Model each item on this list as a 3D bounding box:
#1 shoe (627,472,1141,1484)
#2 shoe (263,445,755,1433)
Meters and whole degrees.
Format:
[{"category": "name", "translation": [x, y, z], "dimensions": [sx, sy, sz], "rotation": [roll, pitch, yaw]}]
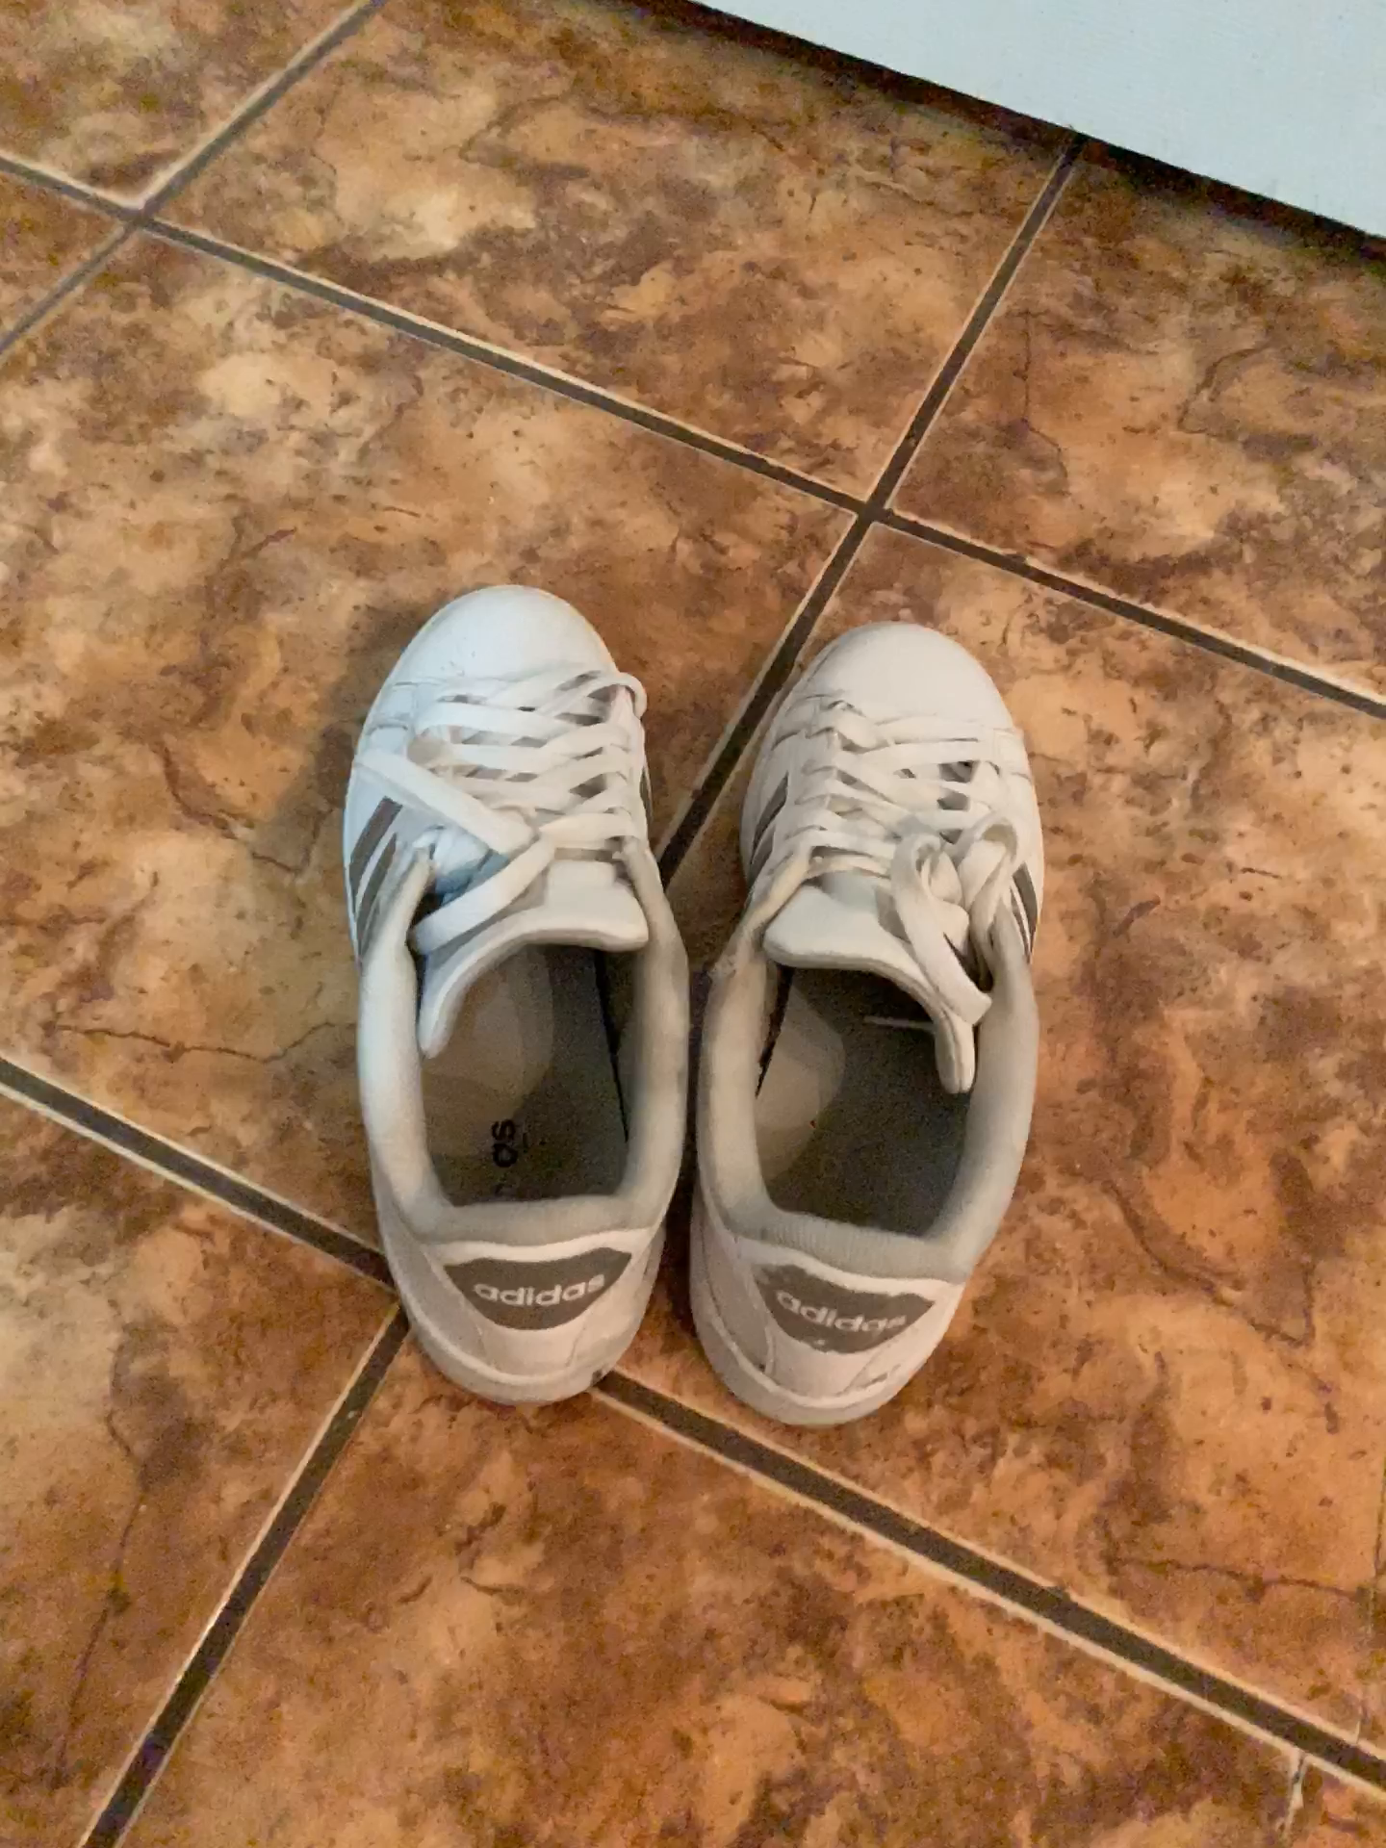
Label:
[{"category": "shoe", "translation": [0.058, 0.007, 0.404], "dimensions": [0.101, 0.104, 0.257], "rotation": [11, 59, 2]}, {"category": "shoe", "translation": [-0.056, -0.005, 0.401], "dimensions": [0.101, 0.104, 0.257], "rotation": [-4, 60, -7]}]
